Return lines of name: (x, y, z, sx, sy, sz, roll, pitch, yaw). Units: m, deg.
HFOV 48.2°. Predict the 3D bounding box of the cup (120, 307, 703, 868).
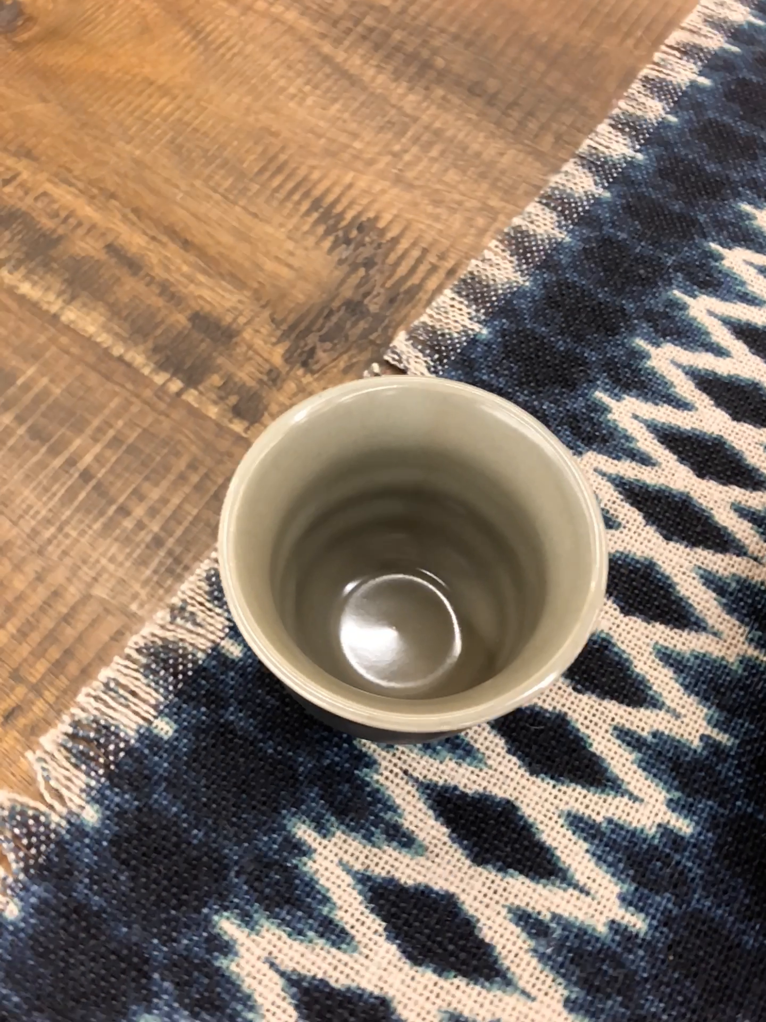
cup: (0.006, 0.016, 0.190, 0.084, 0.048, 0.078, 0, 64, -1)
